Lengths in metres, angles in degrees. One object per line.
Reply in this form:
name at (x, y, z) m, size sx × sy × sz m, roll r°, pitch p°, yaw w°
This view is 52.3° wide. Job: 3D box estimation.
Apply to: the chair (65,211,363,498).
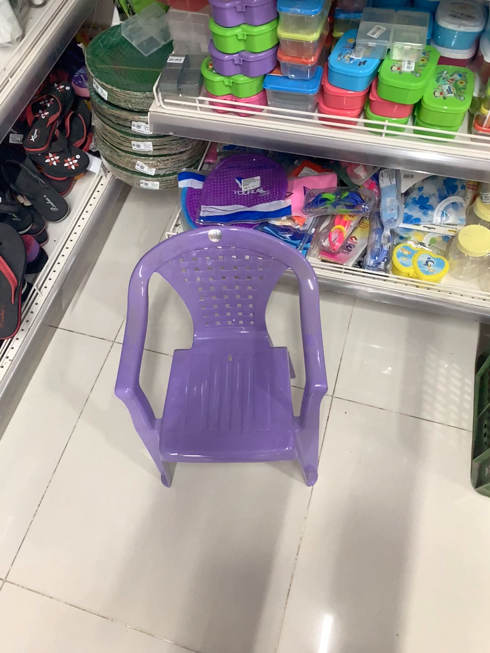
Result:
chair at (-0.034, 0.087, 0.981) m, size 0.420 × 0.429 × 0.401 m, roll -3°, pitch 62°, yaw 4°
